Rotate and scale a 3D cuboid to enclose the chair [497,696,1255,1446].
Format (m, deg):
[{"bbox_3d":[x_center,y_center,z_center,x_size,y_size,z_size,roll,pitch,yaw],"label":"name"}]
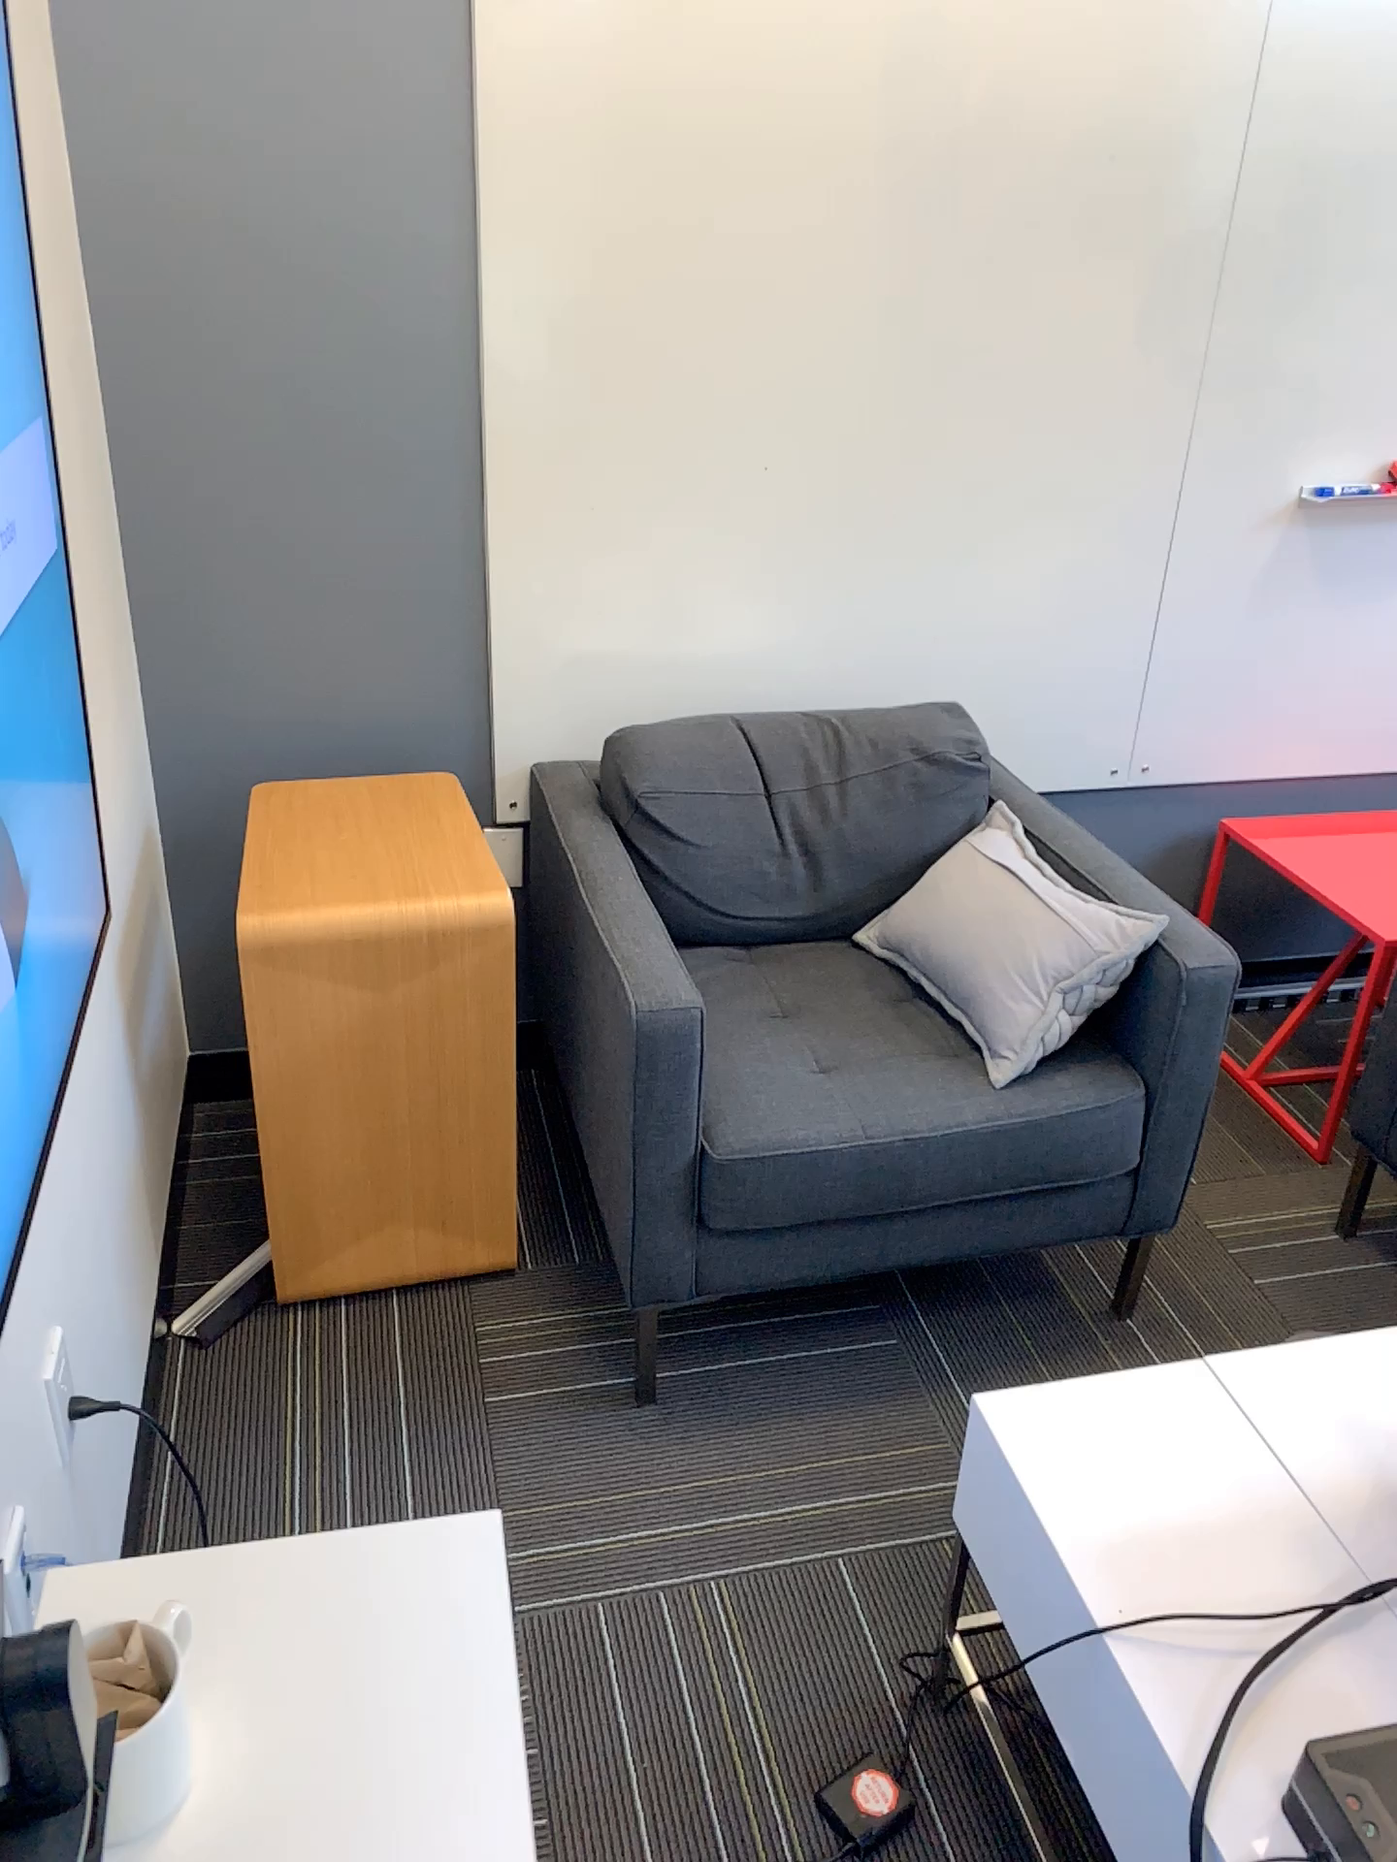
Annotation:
[{"bbox_3d":[0.170,0.133,2.290,0.840,0.716,0.946,-5,28,-15],"label":"chair"}]
